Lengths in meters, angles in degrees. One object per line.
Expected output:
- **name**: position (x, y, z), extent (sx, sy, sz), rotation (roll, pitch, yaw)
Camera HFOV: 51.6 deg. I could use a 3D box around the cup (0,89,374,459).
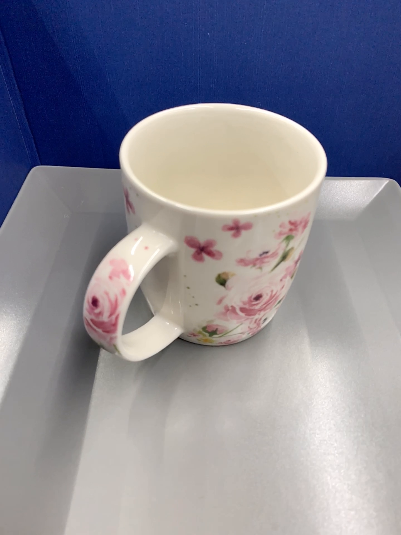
- **cup**: position (-0.002, -0.007, 0.178), extent (0.085, 0.087, 0.110), rotation (32, 51, 29)
